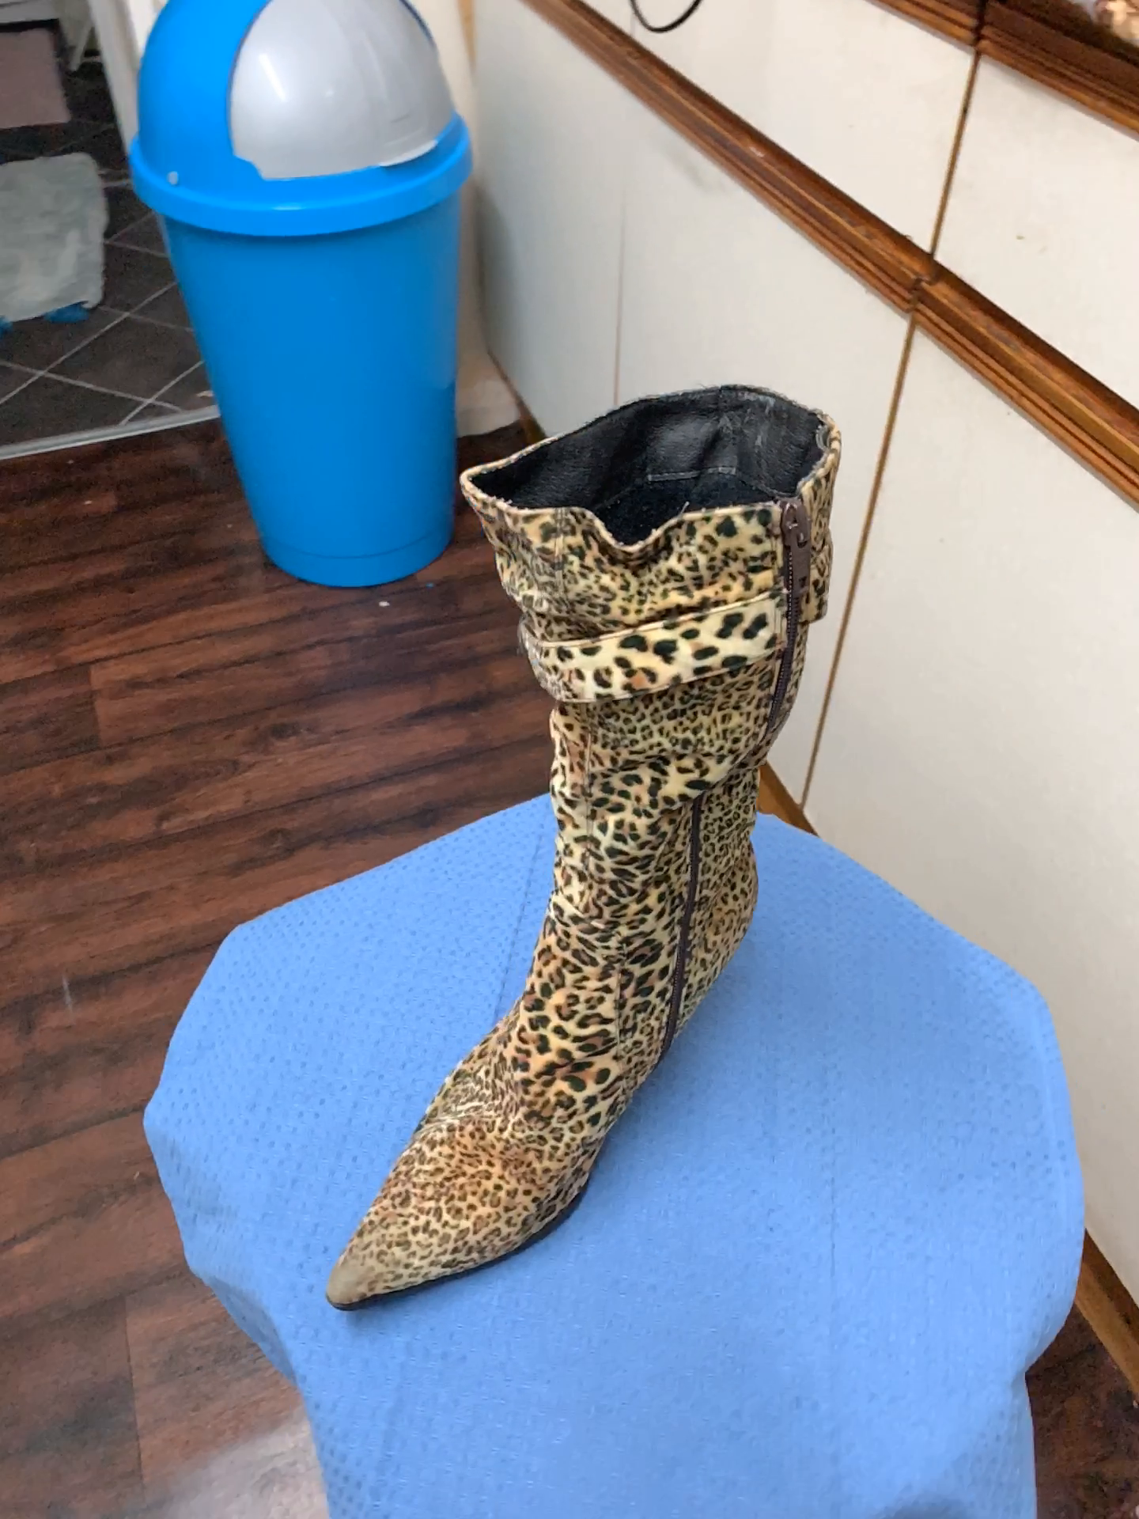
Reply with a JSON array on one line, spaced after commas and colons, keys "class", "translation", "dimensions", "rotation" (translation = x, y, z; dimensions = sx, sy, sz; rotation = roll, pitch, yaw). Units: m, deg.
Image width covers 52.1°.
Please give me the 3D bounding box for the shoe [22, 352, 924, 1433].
[{"class": "shoe", "translation": [-0.011, 0.068, 0.454], "dimensions": [0.100, 0.347, 0.261], "rotation": [33, 54, 27]}]
